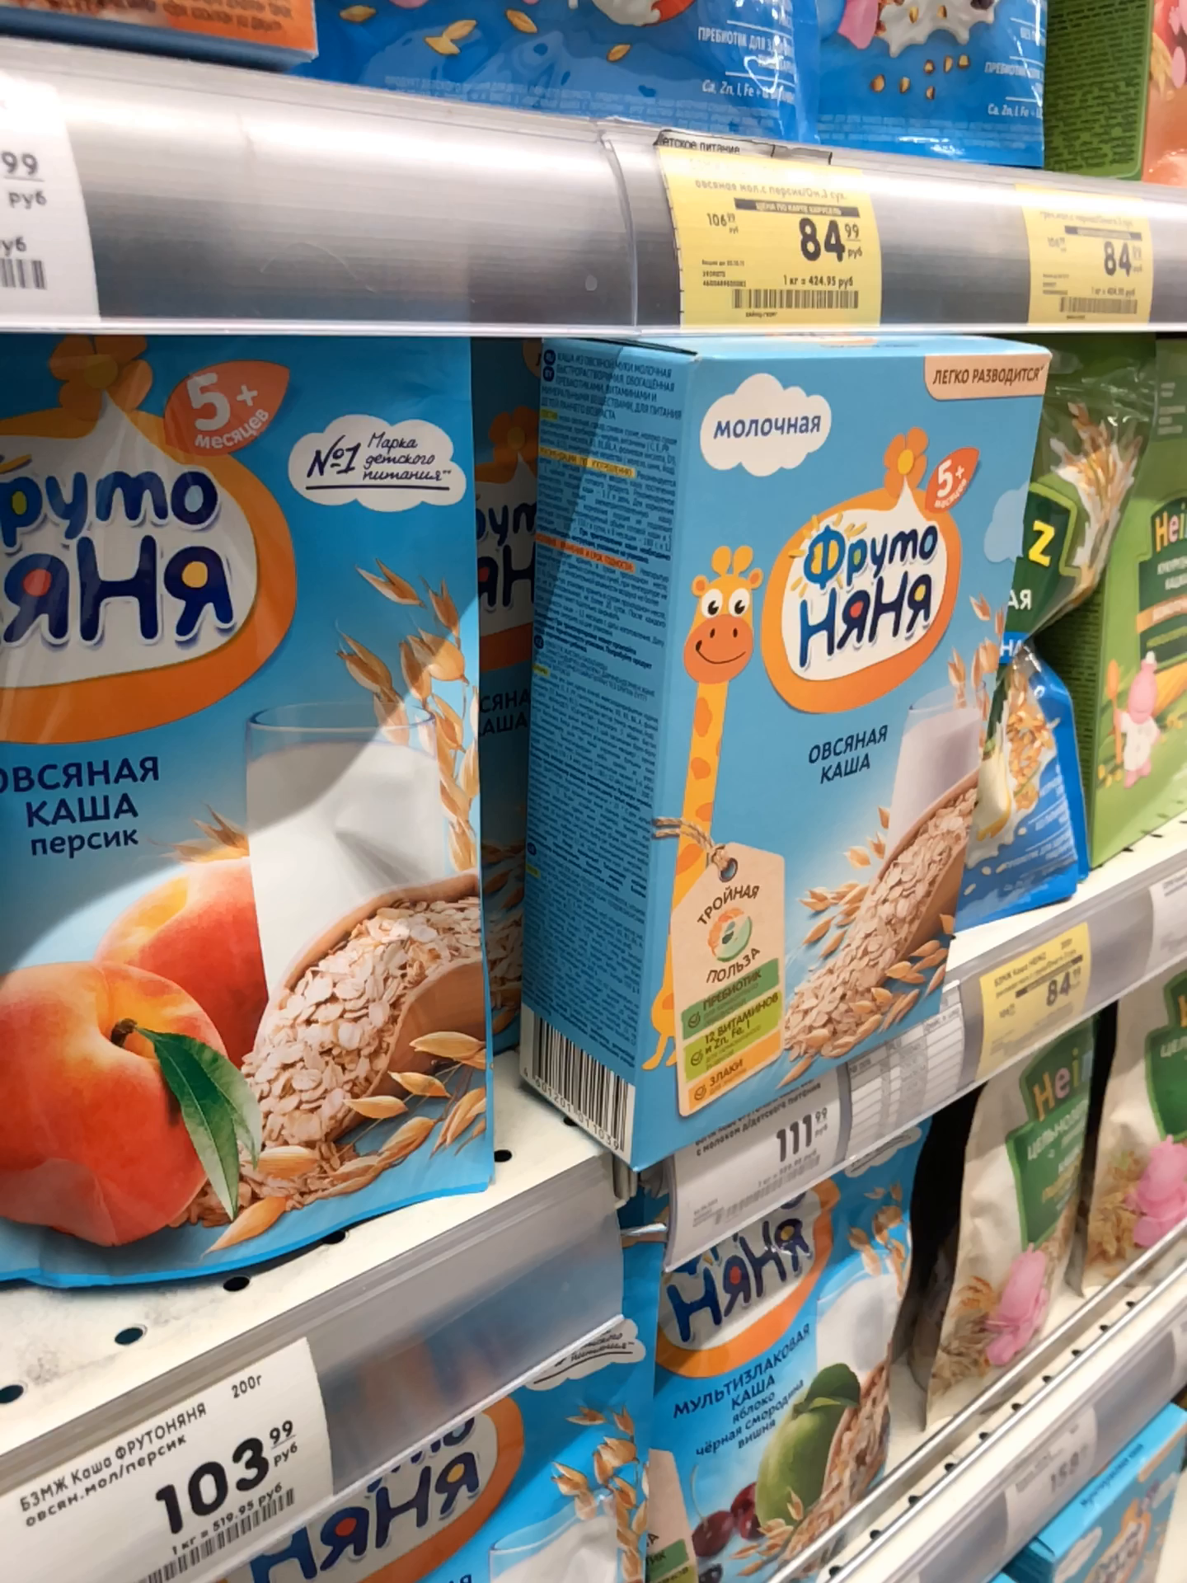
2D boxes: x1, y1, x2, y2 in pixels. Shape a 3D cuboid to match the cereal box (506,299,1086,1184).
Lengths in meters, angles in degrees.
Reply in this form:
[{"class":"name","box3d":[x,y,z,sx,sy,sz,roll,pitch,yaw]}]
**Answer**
[{"class":"cereal box","box3d":[0.051,-0.020,0.344,0.140,0.199,0.050,-16,28,-39]}]
